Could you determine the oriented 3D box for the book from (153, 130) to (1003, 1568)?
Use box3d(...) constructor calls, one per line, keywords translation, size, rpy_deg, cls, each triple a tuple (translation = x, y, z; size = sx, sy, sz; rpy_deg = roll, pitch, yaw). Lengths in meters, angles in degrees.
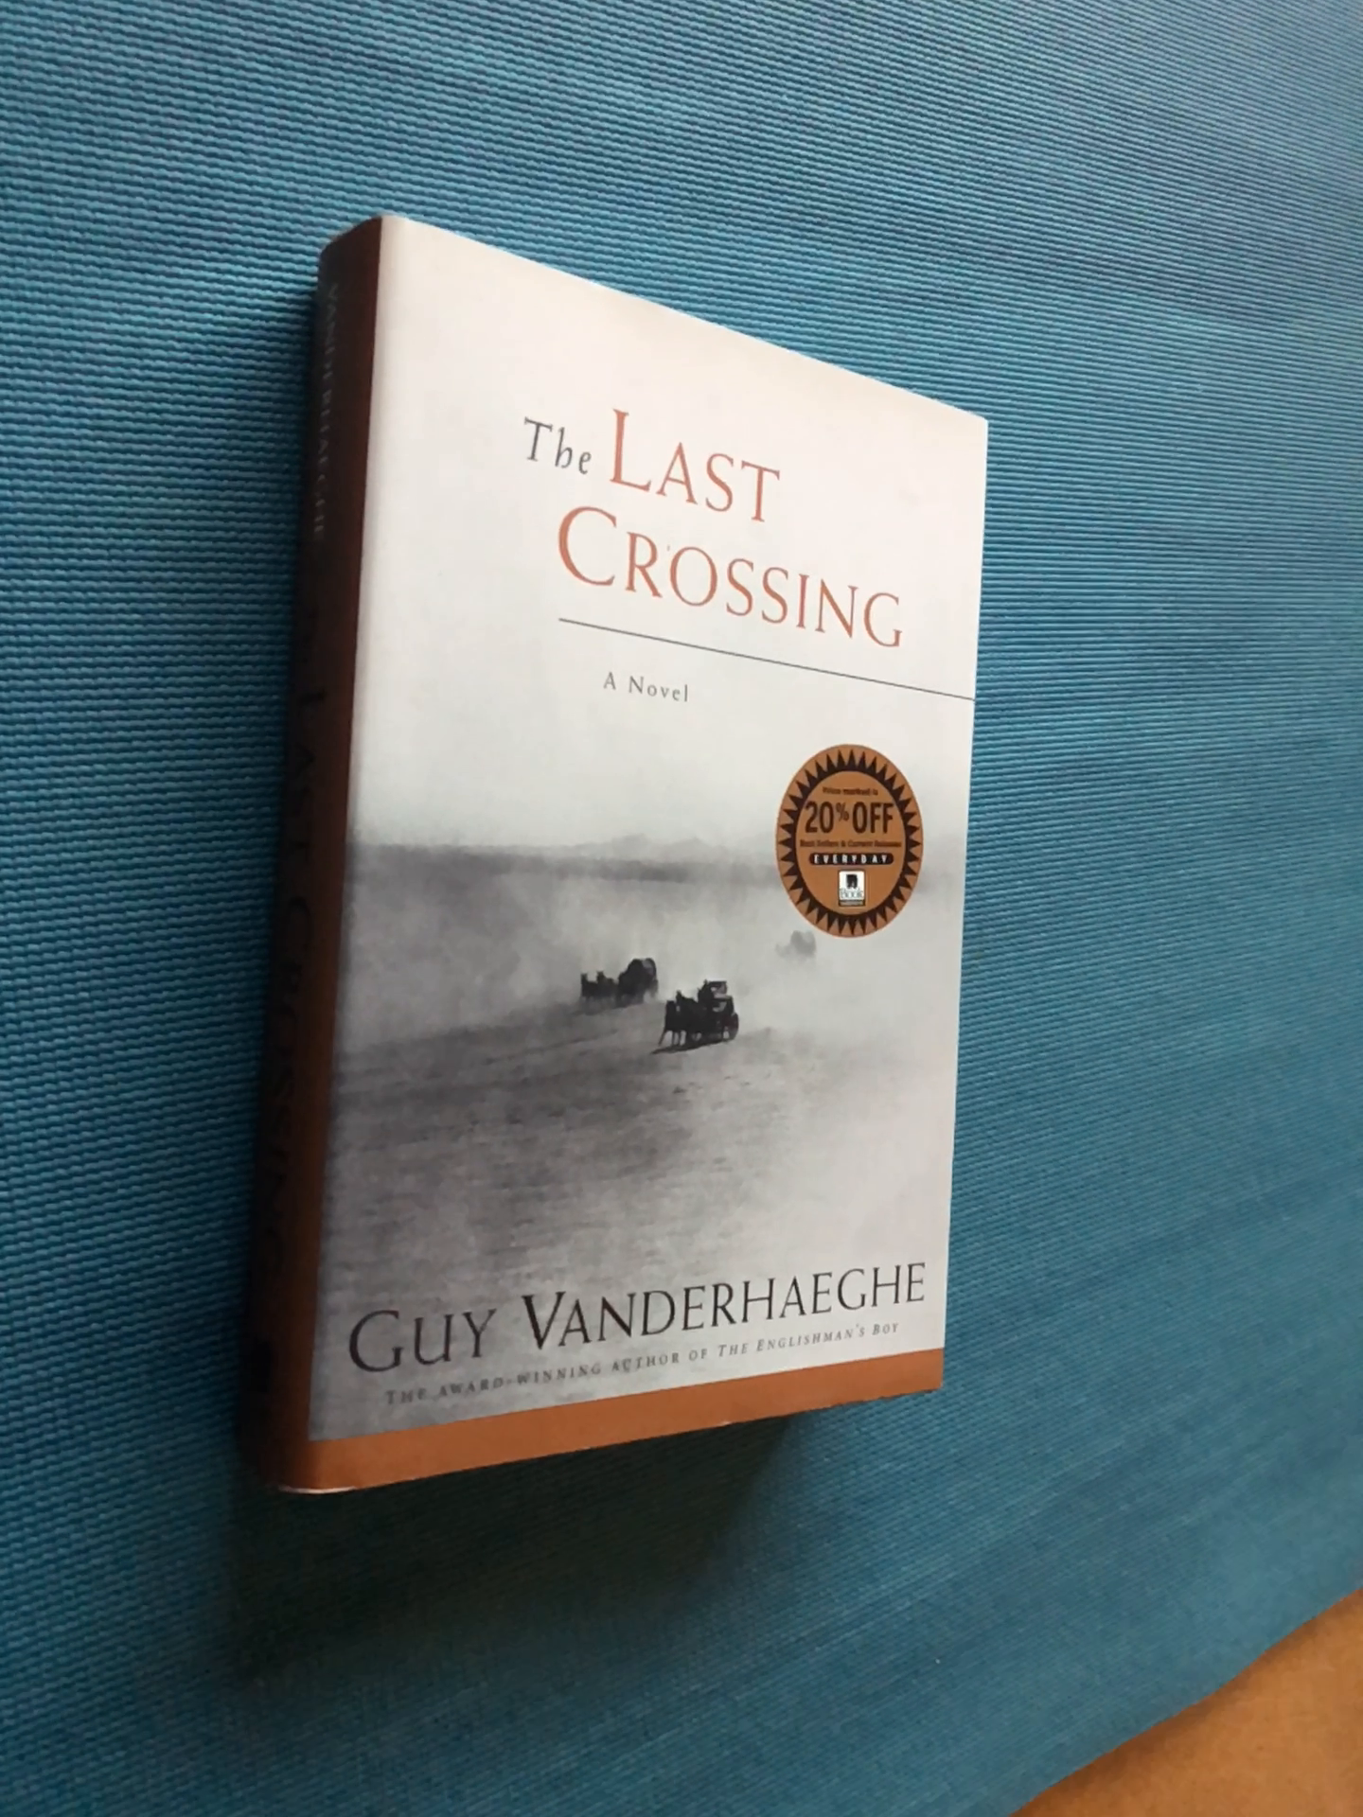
box3d(translation=(-0.010, -0.007, 0.306), size=(0.171, 0.040, 0.230), rpy_deg=(4, 87, -36), cls="book")
